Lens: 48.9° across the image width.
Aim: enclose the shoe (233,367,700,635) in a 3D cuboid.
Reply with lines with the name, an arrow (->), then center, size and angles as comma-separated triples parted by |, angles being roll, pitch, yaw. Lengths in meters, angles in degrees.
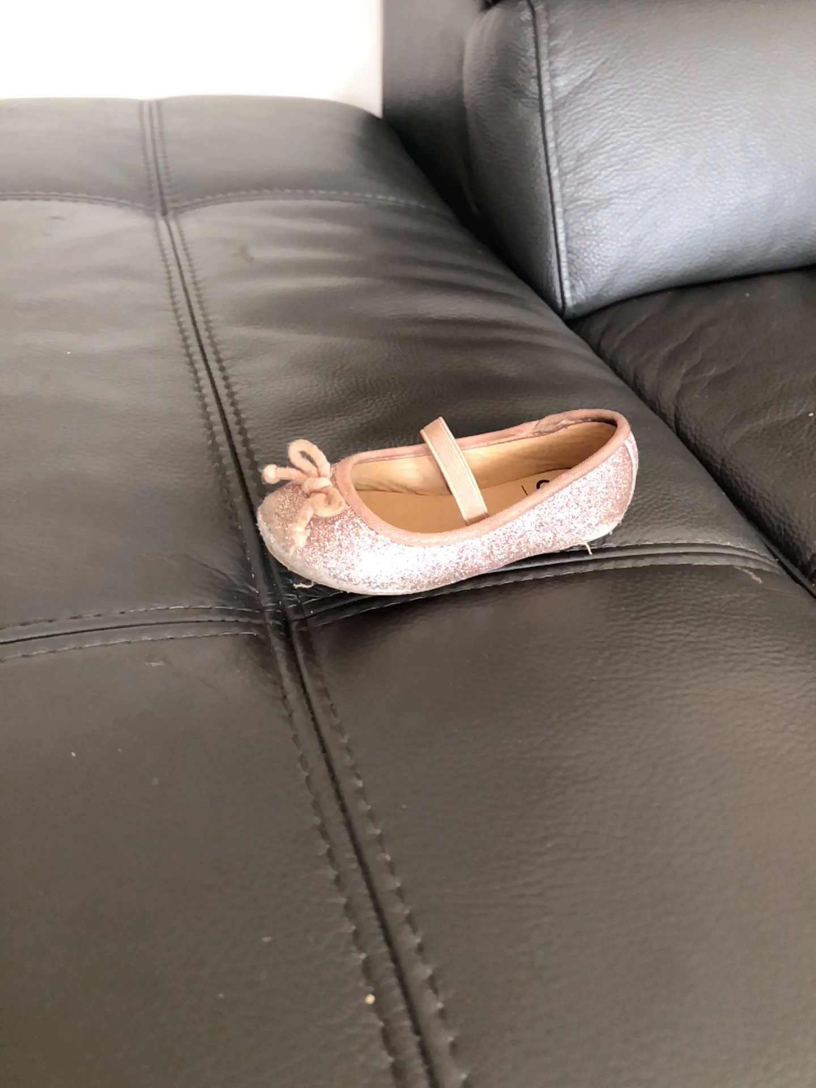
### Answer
shoe -> 0.021, -0.022, 0.348 | 0.160, 0.040, 0.070 | -12, 44, -16
